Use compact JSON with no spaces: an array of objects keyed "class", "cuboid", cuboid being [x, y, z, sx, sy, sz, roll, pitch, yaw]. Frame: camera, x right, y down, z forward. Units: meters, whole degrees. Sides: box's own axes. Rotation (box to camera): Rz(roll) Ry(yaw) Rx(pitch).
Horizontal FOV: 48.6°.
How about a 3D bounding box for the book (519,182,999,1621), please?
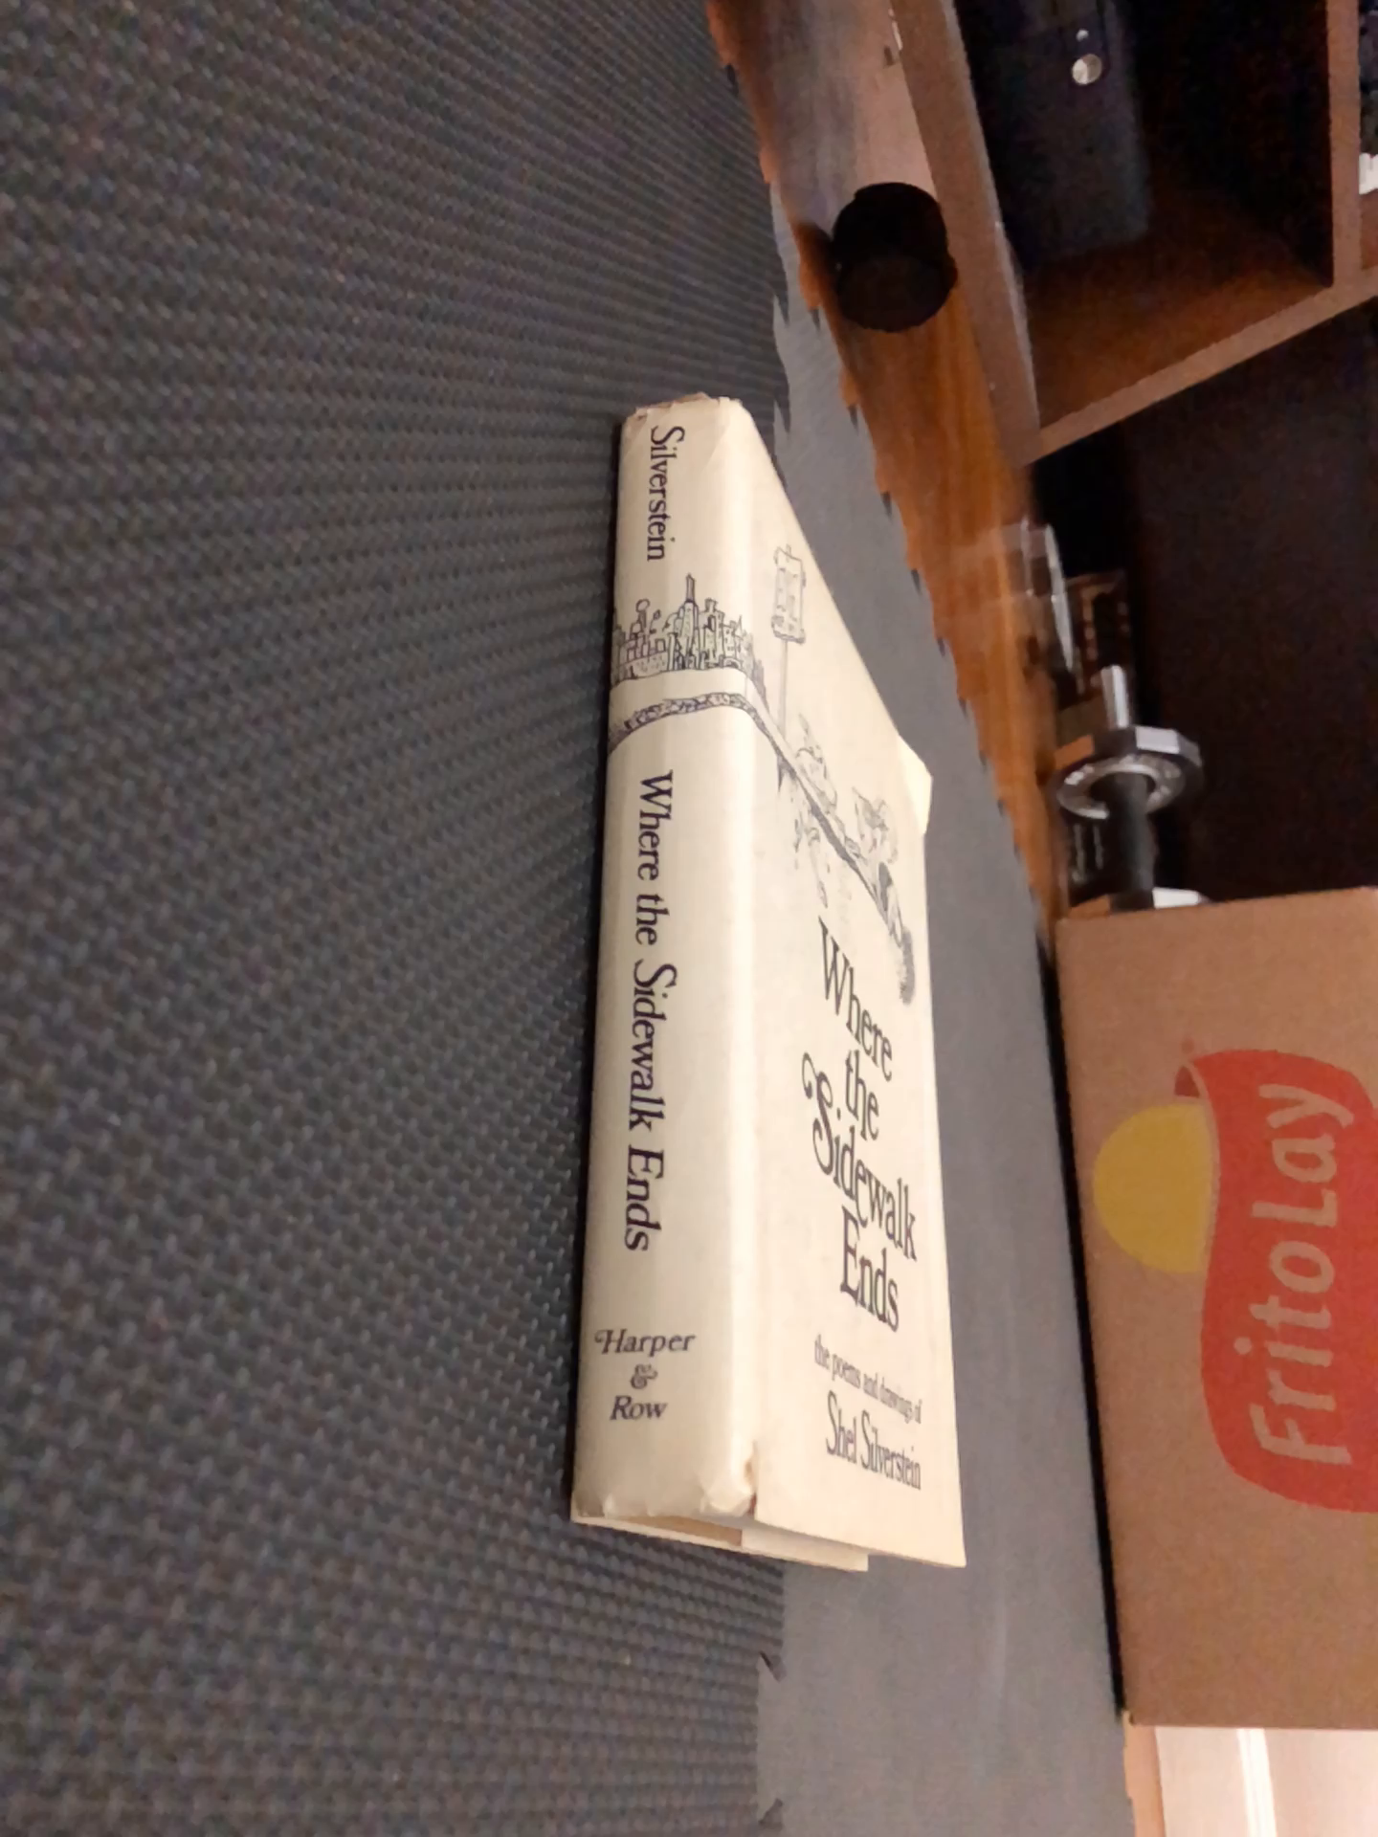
[{"class":"book","cuboid":[0.027,0.008,0.359,0.201,0.030,0.280,49,37,-57]}]
